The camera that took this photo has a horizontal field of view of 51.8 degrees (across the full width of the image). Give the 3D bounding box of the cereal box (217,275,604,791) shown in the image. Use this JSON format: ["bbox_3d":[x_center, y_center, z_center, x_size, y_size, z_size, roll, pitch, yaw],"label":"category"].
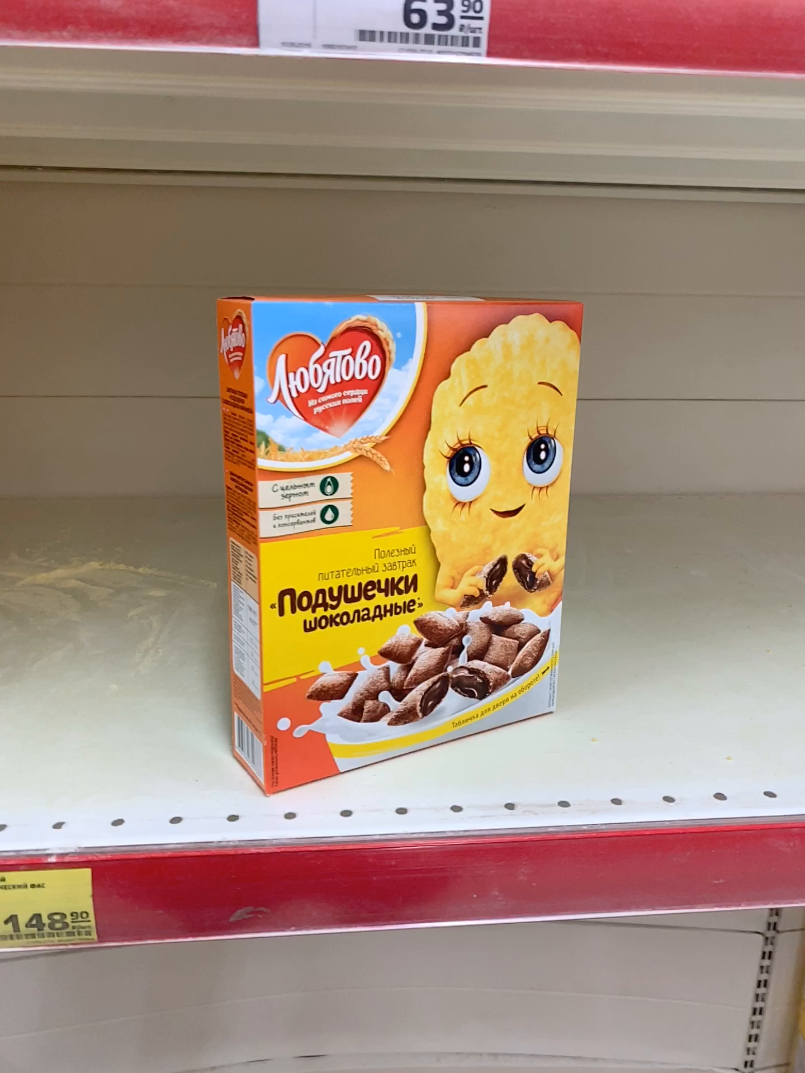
[{"bbox_3d":[0.007,-0.010,0.418,0.180,0.229,0.050,-8,19,-29],"label":"cereal box"}]
